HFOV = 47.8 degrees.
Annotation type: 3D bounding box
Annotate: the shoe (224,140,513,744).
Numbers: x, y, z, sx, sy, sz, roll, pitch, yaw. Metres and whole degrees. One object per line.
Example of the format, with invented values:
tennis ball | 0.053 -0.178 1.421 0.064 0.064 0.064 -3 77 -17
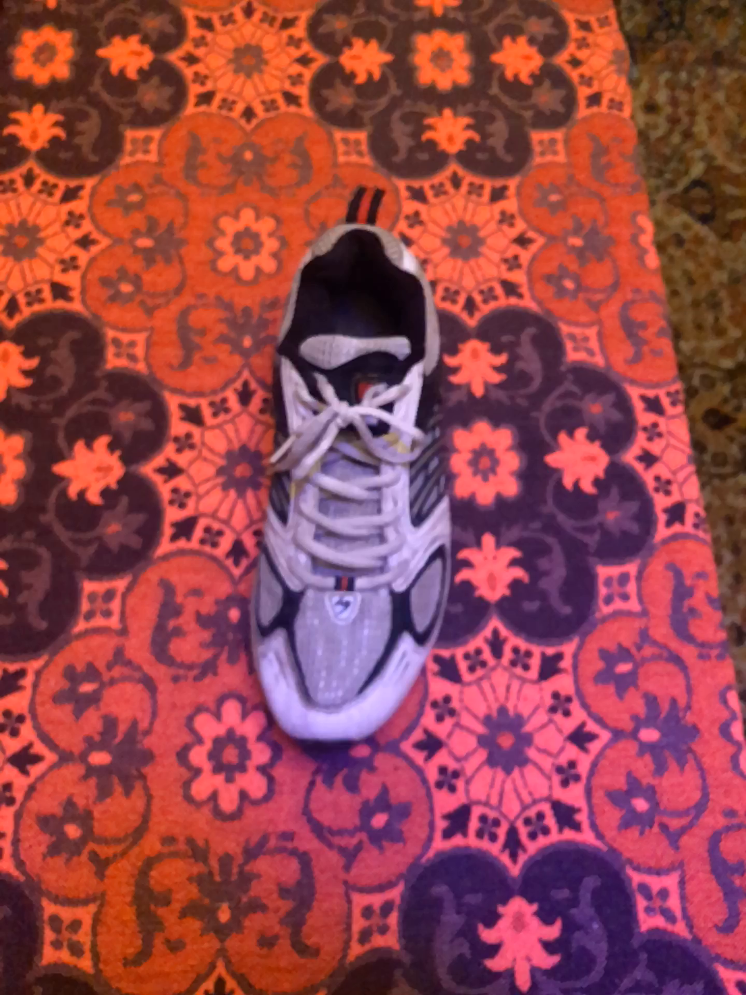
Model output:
shoe | -0.005 -0.035 0.448 0.120 0.090 0.310 0 68 -2
